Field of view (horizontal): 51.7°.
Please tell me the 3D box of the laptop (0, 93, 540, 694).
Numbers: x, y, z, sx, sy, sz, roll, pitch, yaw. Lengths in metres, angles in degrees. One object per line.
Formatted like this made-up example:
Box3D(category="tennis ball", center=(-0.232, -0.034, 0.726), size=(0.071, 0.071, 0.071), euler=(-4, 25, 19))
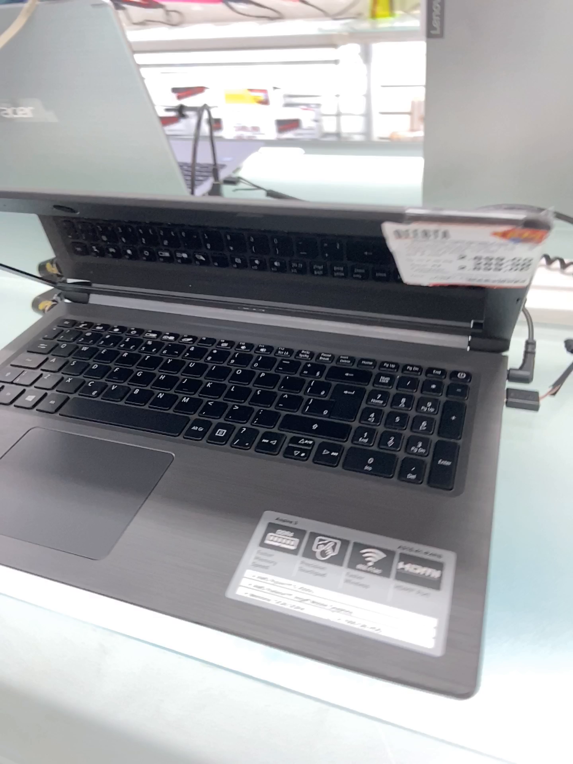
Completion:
Box3D(category="laptop", center=(-0.065, -0.037, 0.308), size=(0.343, 0.155, 0.221), euler=(8, 39, 18))
